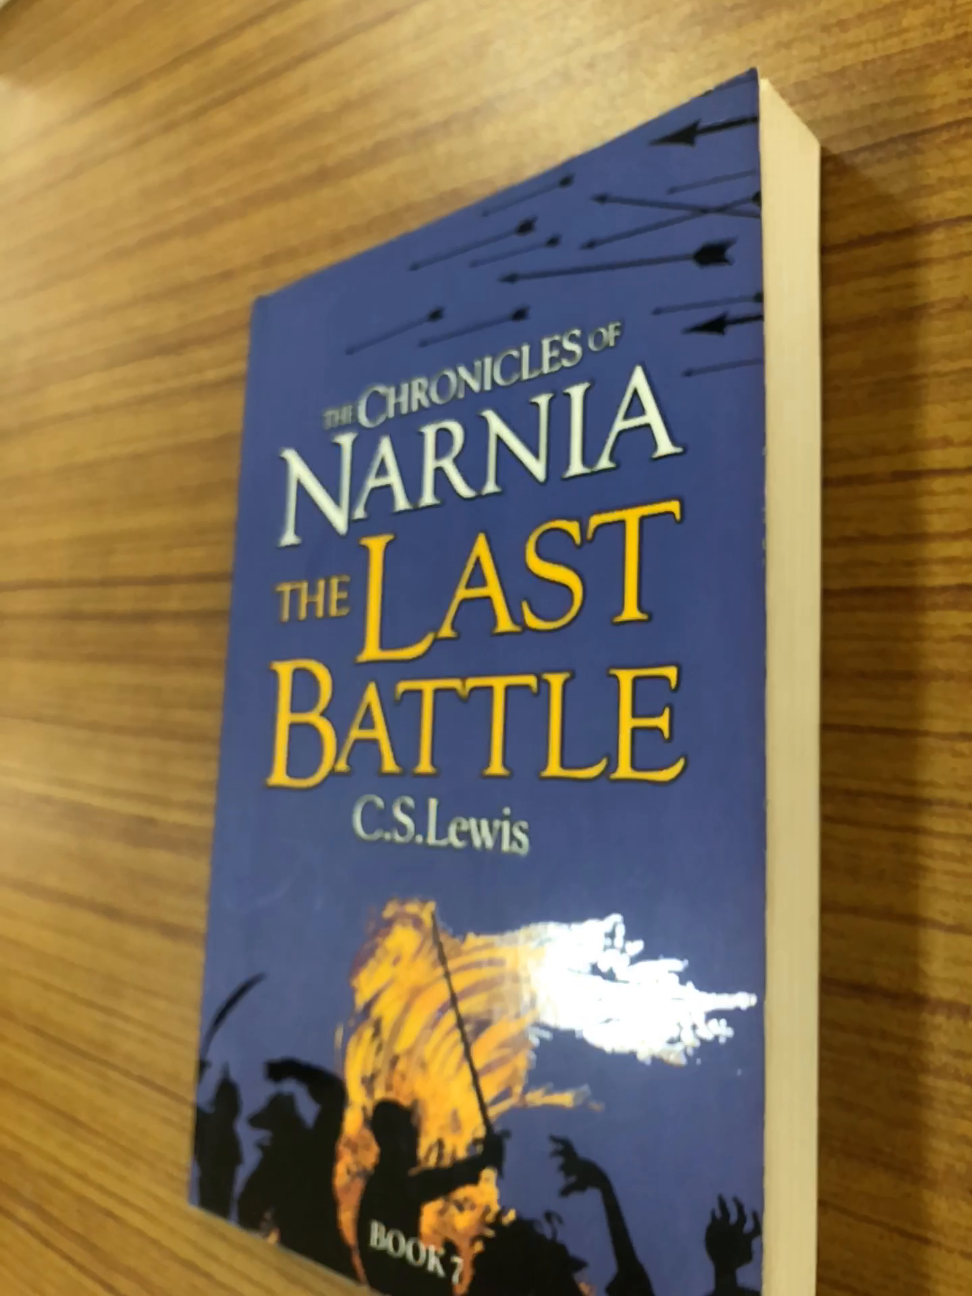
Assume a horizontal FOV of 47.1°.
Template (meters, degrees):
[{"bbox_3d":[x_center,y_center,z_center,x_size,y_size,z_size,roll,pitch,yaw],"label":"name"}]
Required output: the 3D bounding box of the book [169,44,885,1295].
[{"bbox_3d":[-0.001,0.014,0.213,0.141,0.030,0.200,-4,81,41],"label":"book"}]
